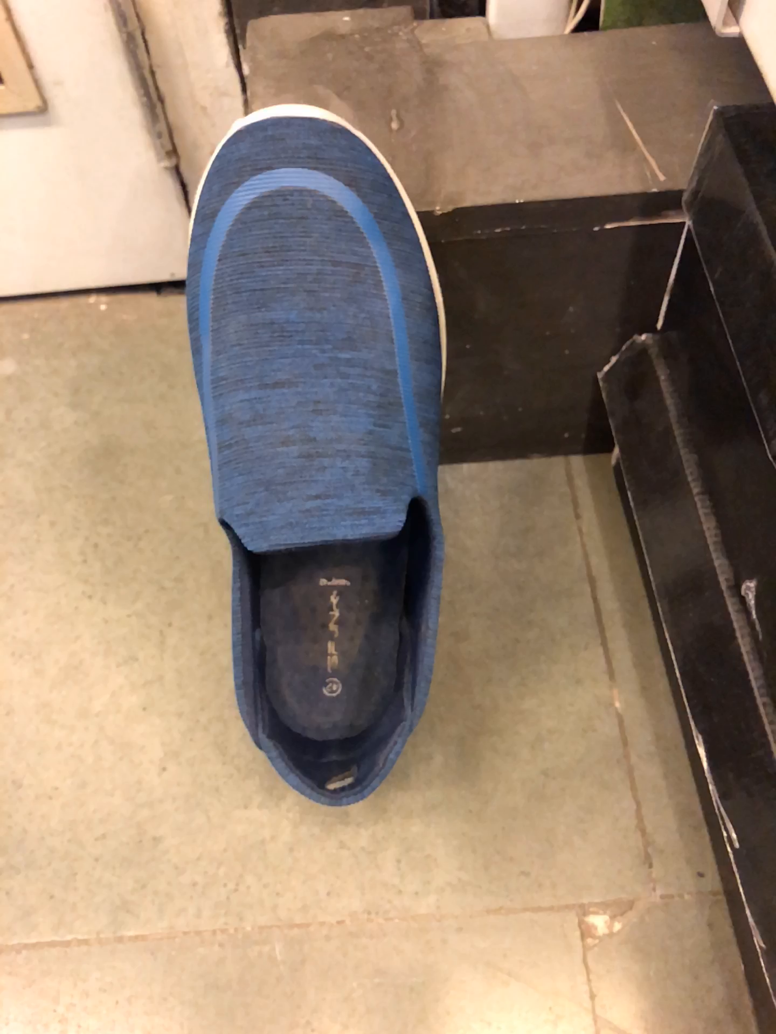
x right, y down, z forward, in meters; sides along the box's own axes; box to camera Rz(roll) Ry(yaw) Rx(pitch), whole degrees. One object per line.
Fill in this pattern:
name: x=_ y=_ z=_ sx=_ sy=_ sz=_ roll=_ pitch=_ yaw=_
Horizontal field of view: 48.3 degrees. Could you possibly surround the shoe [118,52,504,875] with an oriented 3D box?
shoe: x=-0.020 y=-0.015 z=0.332 sx=0.110 sy=0.272 sz=0.095 roll=-3 pitch=15 yaw=-3
